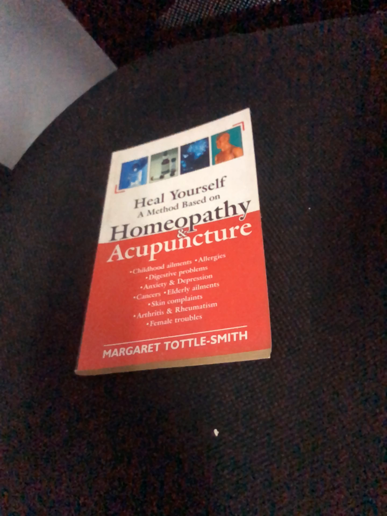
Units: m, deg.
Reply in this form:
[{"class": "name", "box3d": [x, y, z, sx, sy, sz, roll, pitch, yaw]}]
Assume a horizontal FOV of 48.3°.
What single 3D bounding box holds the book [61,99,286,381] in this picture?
[{"class": "book", "box3d": [-0.013, -0.022, 0.337, 0.150, 0.020, 0.221, -10, 56, 19]}]
